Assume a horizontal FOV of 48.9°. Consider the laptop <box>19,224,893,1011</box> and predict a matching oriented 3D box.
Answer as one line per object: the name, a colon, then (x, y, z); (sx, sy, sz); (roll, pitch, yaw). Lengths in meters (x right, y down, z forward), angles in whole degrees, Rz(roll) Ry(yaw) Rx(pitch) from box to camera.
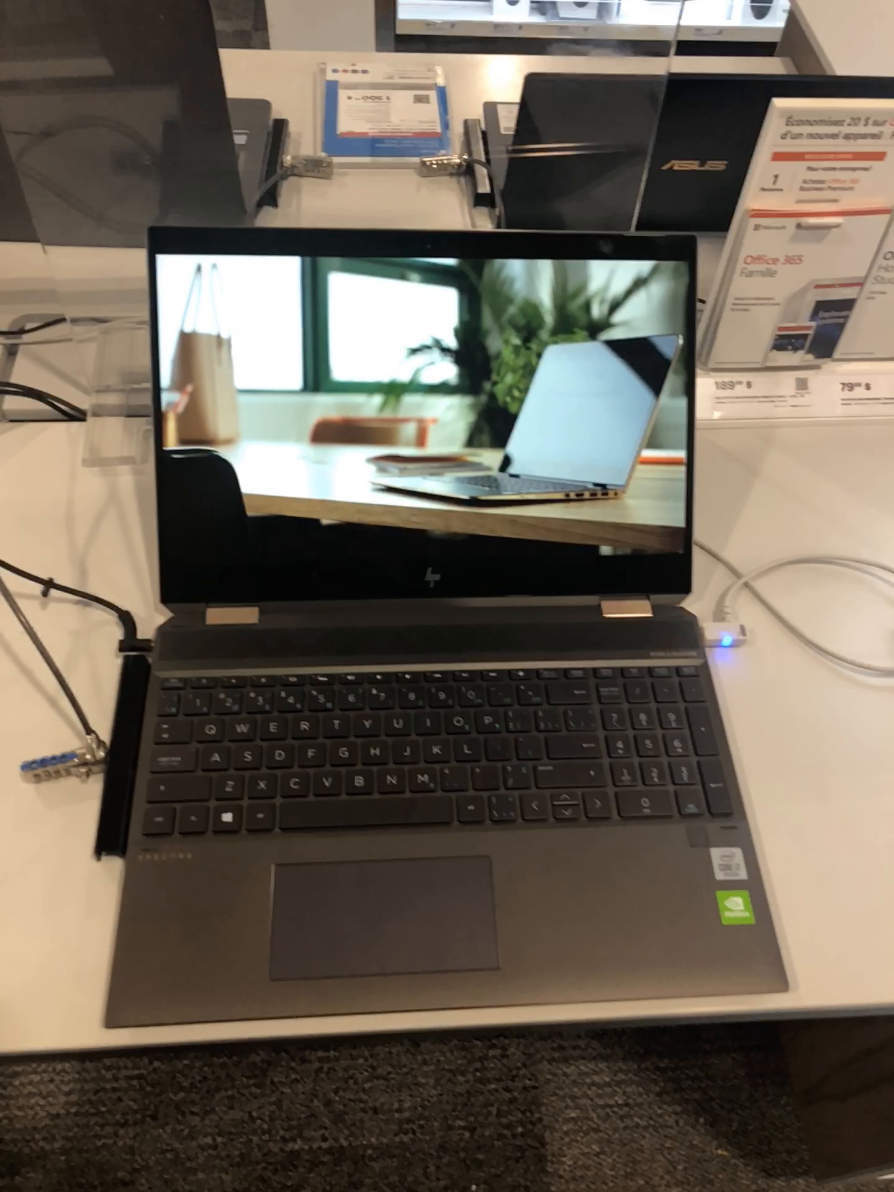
laptop: (-0.006, -0.013, 0.550); (0.333, 0.145, 0.426); (-1, 56, -2)
